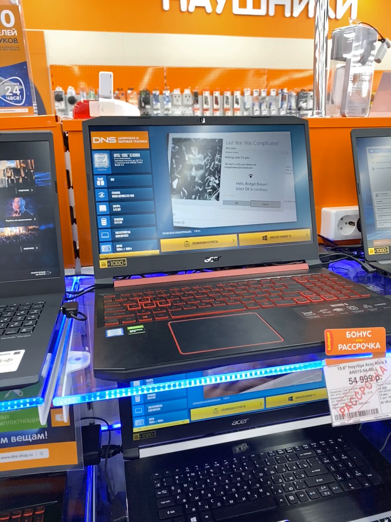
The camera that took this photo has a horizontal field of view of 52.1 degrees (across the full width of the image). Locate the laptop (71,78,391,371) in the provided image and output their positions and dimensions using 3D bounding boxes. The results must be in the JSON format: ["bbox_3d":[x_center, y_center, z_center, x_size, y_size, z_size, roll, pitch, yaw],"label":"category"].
[{"bbox_3d":[0.049,-0.067,0.509,0.360,0.237,0.303,-4,14,-14],"label":"laptop"}]
